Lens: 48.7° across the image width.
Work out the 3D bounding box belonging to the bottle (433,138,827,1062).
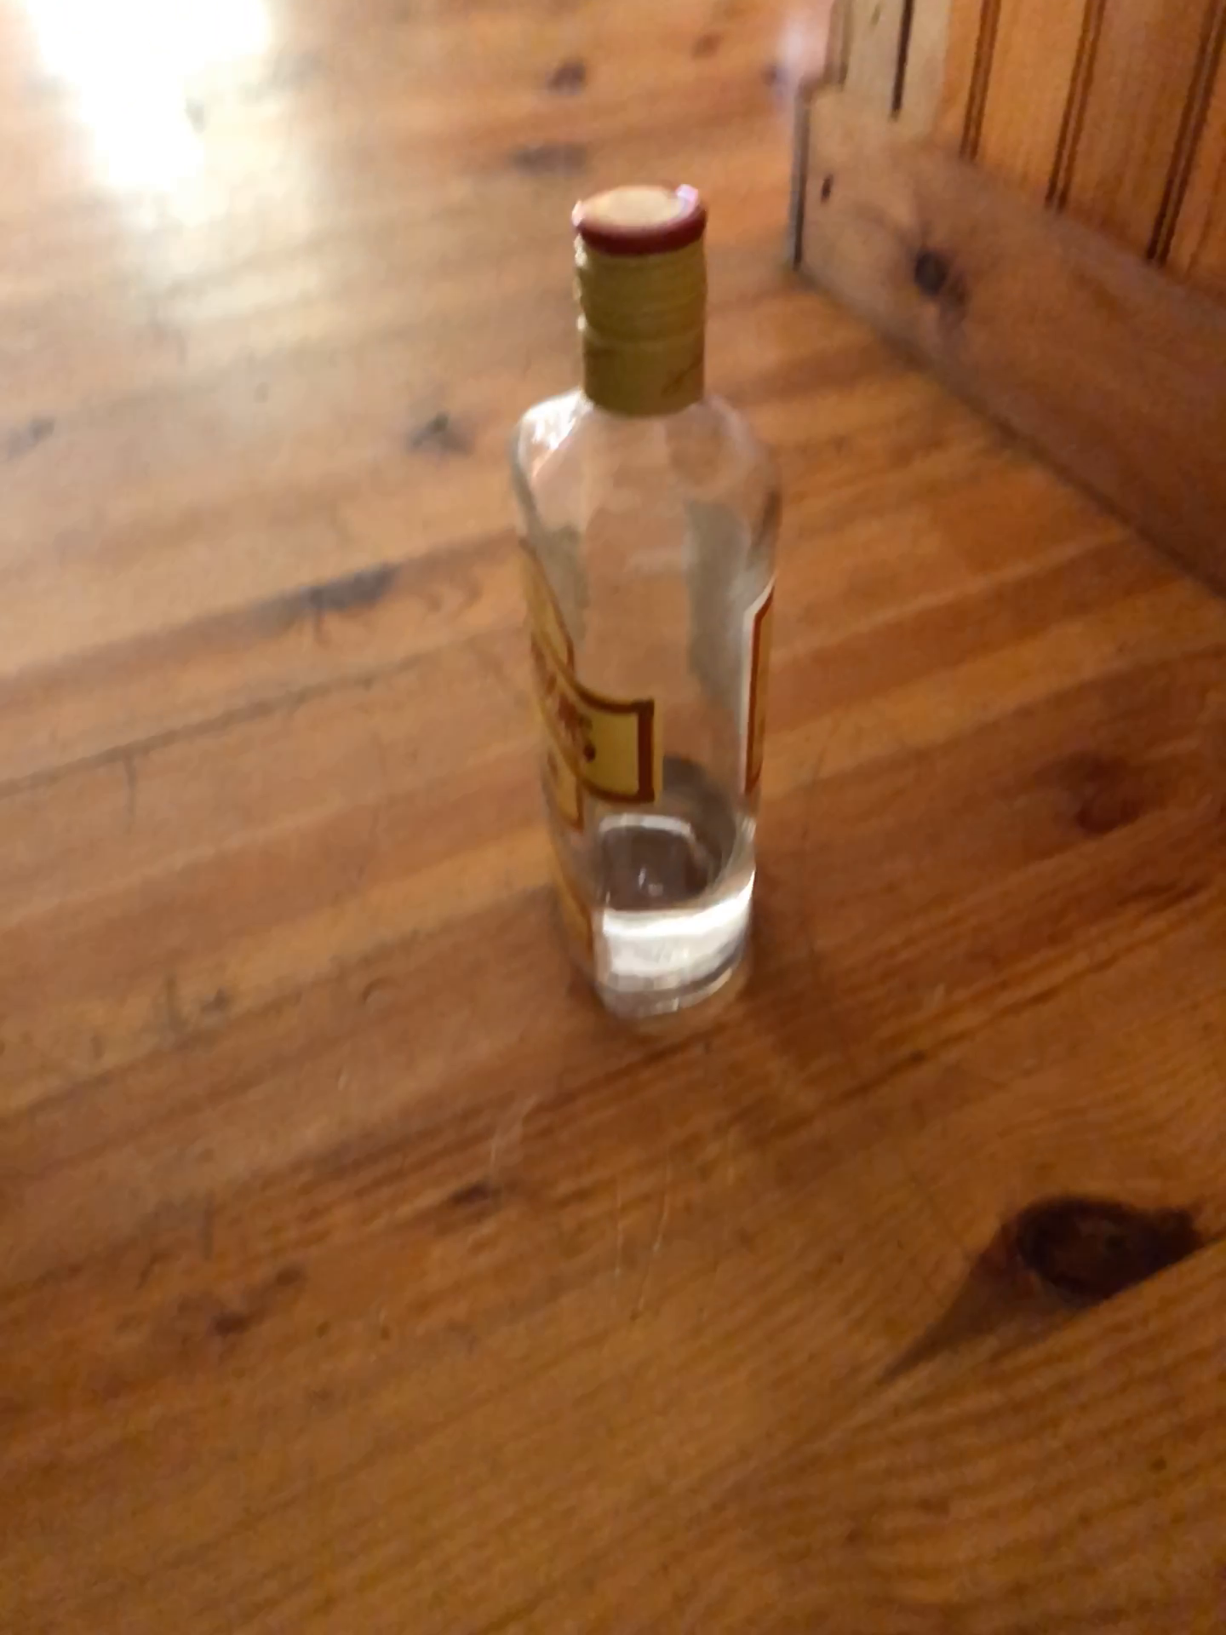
[{"bbox_3d":[0.004,-0.043,0.376,0.060,0.238,0.090,-14,47,-10],"label":"bottle"}]
